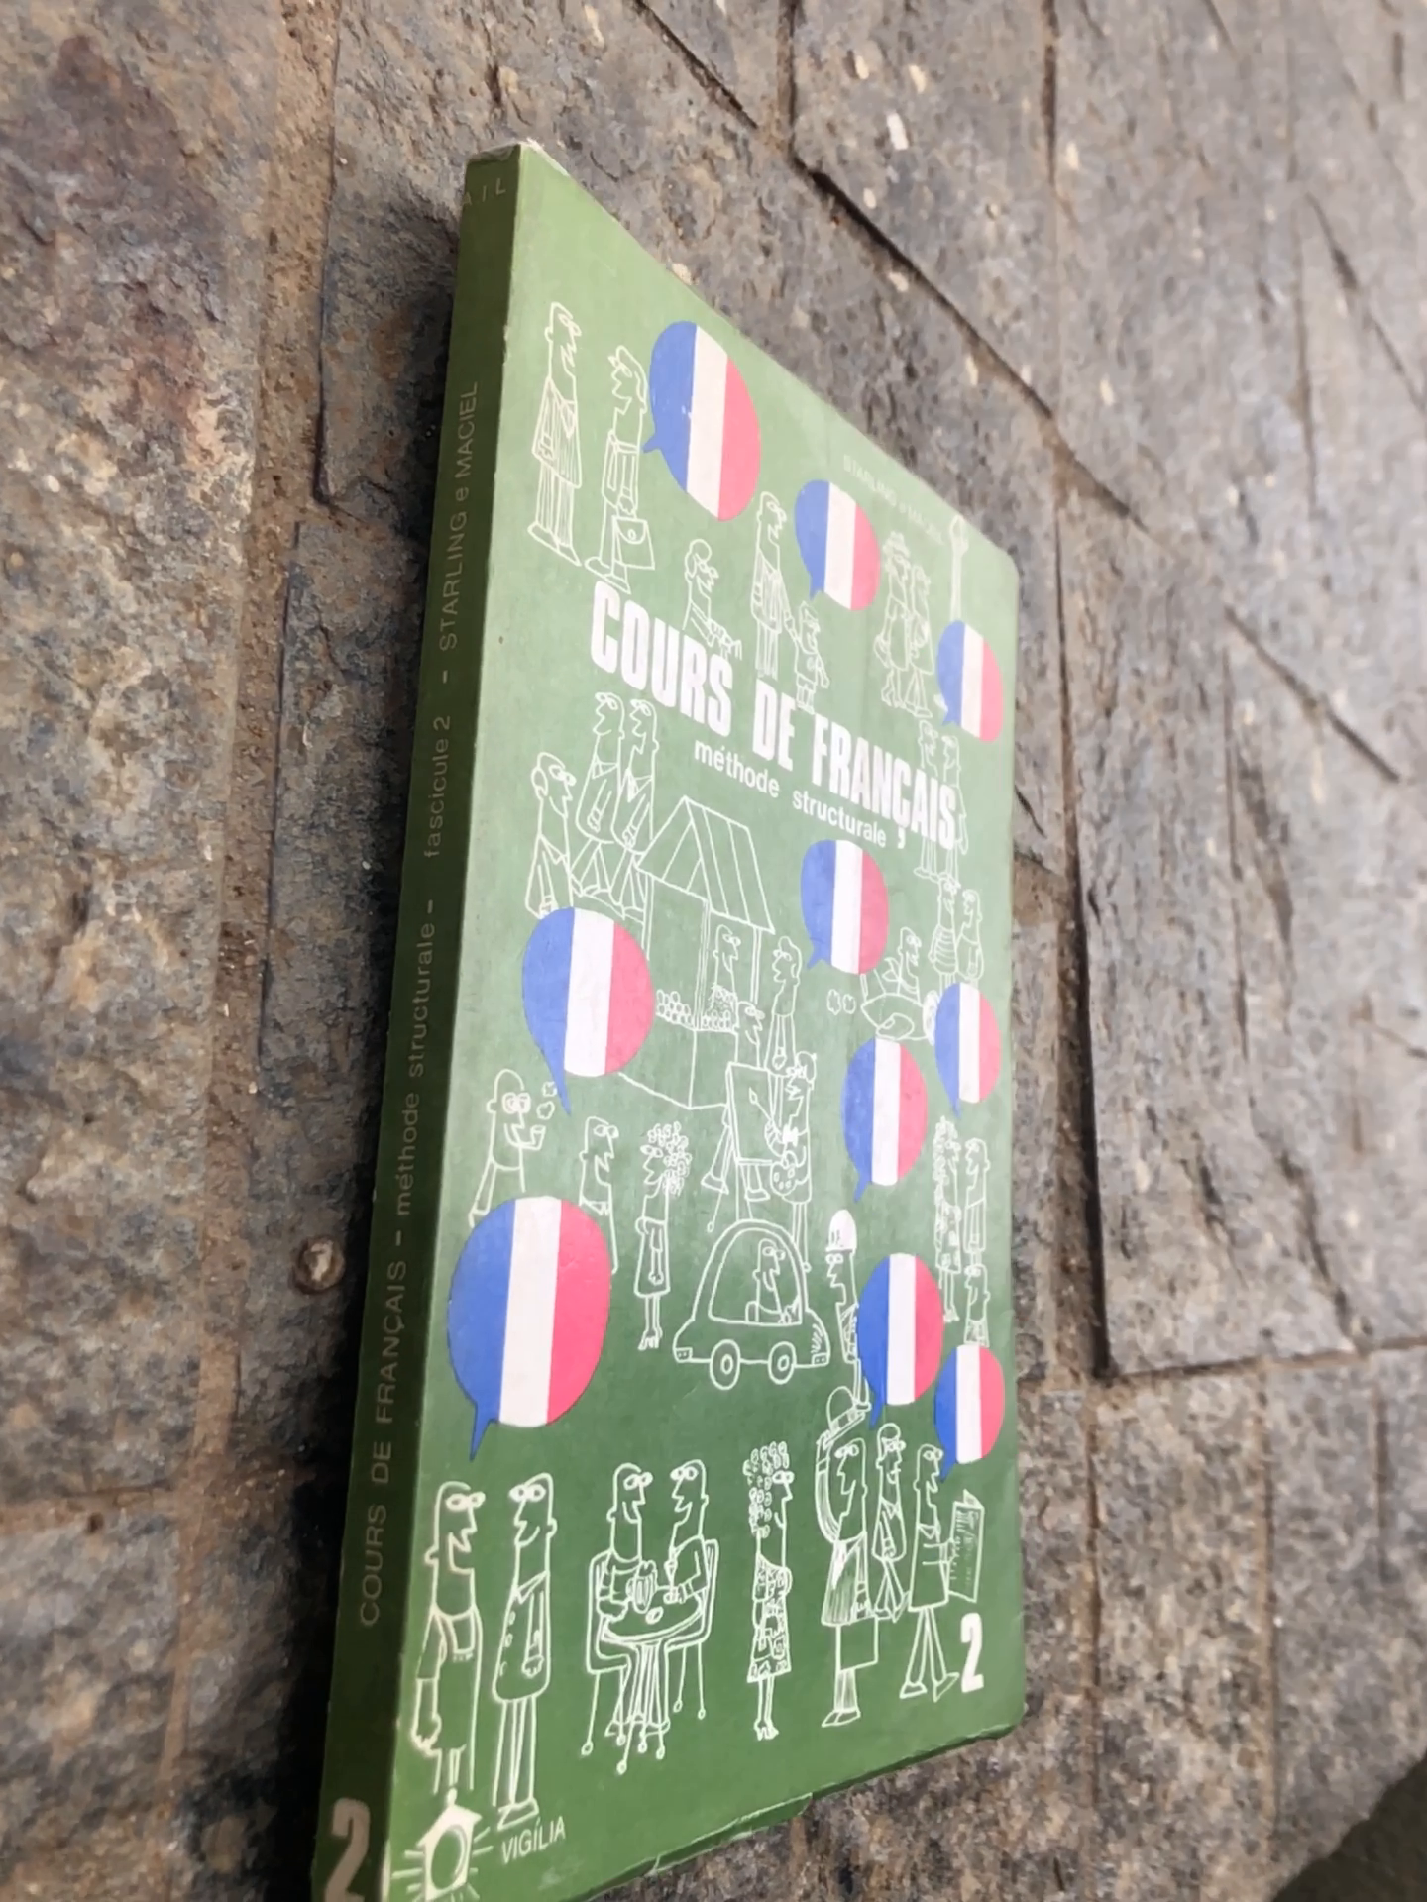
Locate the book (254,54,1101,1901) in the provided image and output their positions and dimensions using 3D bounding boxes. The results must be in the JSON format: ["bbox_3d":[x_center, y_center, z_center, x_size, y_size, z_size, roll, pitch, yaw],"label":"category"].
[{"bbox_3d":[0.016,0.014,0.235,0.168,0.013,0.211,18,71,-51],"label":"book"}]
